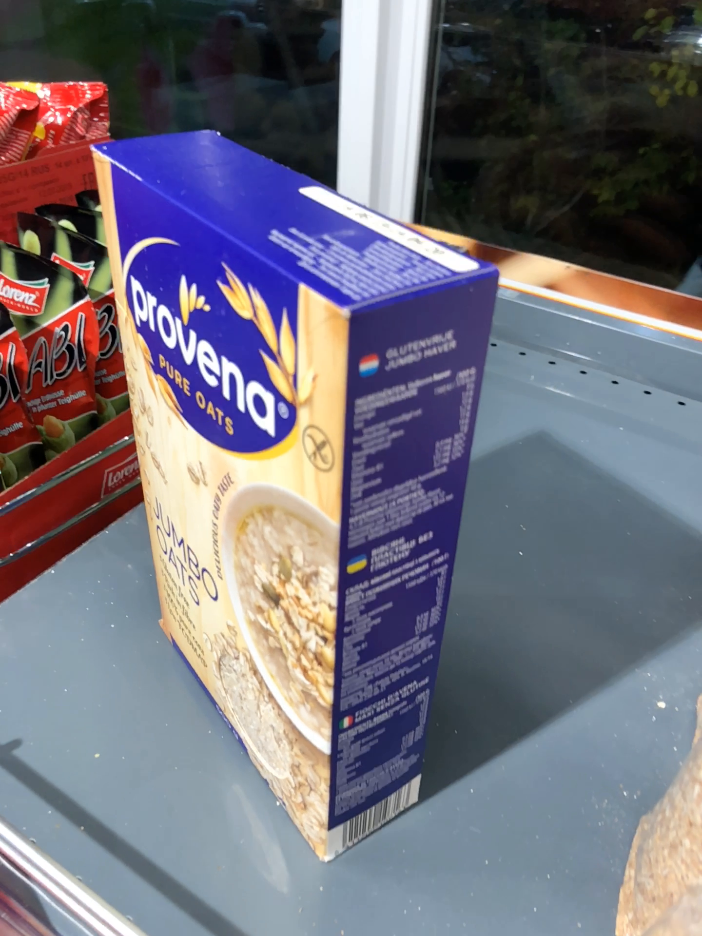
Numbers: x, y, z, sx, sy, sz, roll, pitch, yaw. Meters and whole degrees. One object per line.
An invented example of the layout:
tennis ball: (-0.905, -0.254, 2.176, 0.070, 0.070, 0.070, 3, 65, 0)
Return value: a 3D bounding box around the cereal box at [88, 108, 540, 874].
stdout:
cereal box: (-0.027, 0.011, 0.279, 0.050, 0.229, 0.151, -21, 42, -29)
